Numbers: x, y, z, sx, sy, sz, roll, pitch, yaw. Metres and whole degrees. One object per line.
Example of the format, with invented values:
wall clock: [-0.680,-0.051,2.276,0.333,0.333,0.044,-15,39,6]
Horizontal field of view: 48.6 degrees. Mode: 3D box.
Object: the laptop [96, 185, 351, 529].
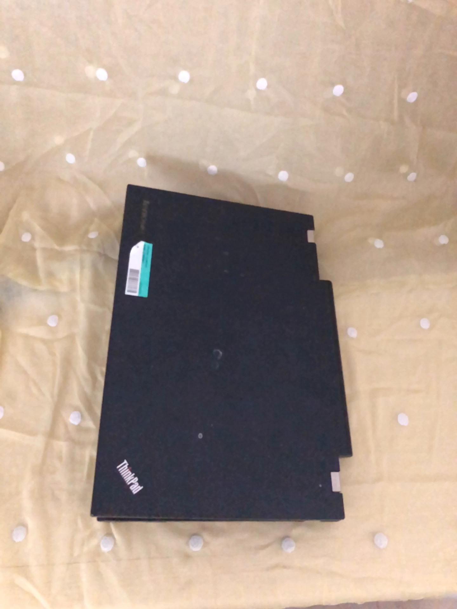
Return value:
laptop: [-0.006,0.037,0.548,0.225,0.050,0.357,2,63,-1]
